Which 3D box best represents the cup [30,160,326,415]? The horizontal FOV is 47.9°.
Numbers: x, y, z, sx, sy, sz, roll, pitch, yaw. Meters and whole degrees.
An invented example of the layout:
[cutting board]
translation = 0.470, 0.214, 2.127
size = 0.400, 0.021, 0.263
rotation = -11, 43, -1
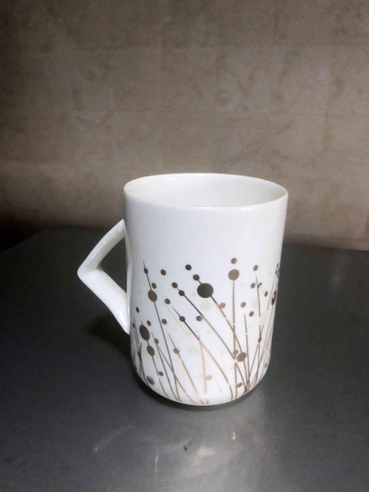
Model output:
[cup]
translation = -0.002, 0.014, 0.208
size = 0.110, 0.099, 0.080
rotation = 1, 19, 1
